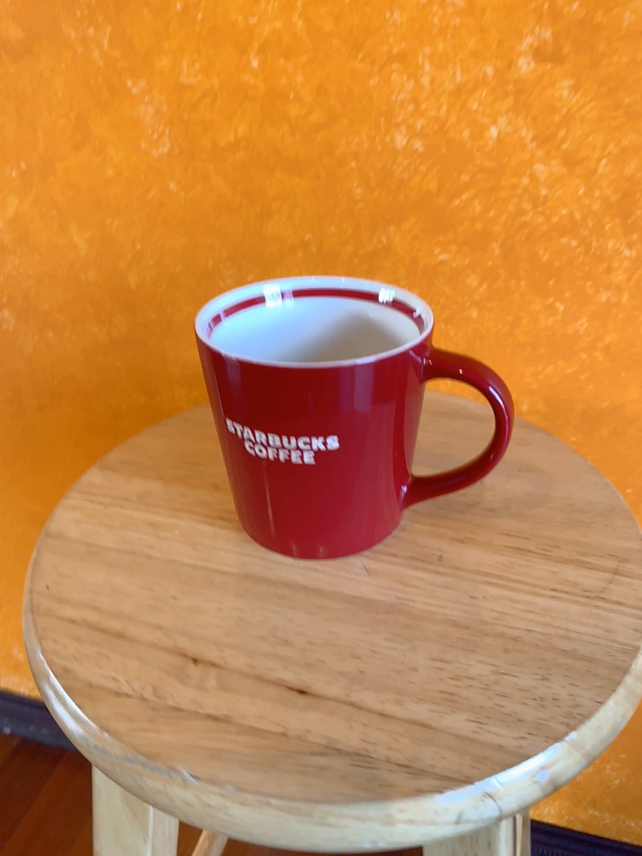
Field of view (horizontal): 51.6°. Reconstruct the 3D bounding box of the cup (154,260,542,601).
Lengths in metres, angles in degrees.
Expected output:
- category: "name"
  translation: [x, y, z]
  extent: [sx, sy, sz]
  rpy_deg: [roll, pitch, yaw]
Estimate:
- category: "cup"
  translation: [0.018, -0.008, 0.305]
  extent: [0.140, 0.099, 0.100]
  rpy_deg: [9, 32, 17]
